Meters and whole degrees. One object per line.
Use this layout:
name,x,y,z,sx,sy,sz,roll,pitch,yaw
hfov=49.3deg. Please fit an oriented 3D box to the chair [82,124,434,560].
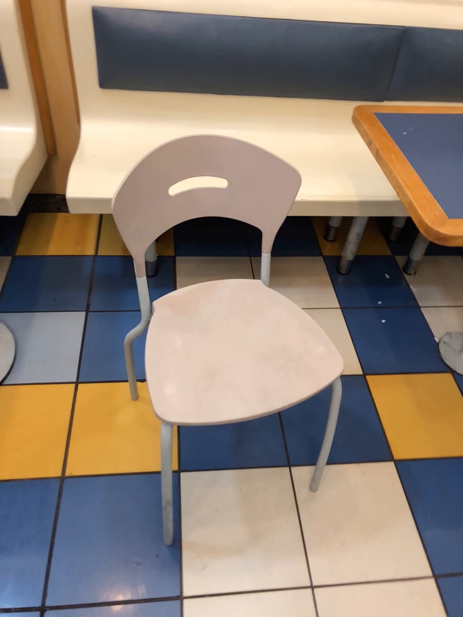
chair,-0.016,0.091,1.139,0.441,0.774,0.513,-13,47,-18
